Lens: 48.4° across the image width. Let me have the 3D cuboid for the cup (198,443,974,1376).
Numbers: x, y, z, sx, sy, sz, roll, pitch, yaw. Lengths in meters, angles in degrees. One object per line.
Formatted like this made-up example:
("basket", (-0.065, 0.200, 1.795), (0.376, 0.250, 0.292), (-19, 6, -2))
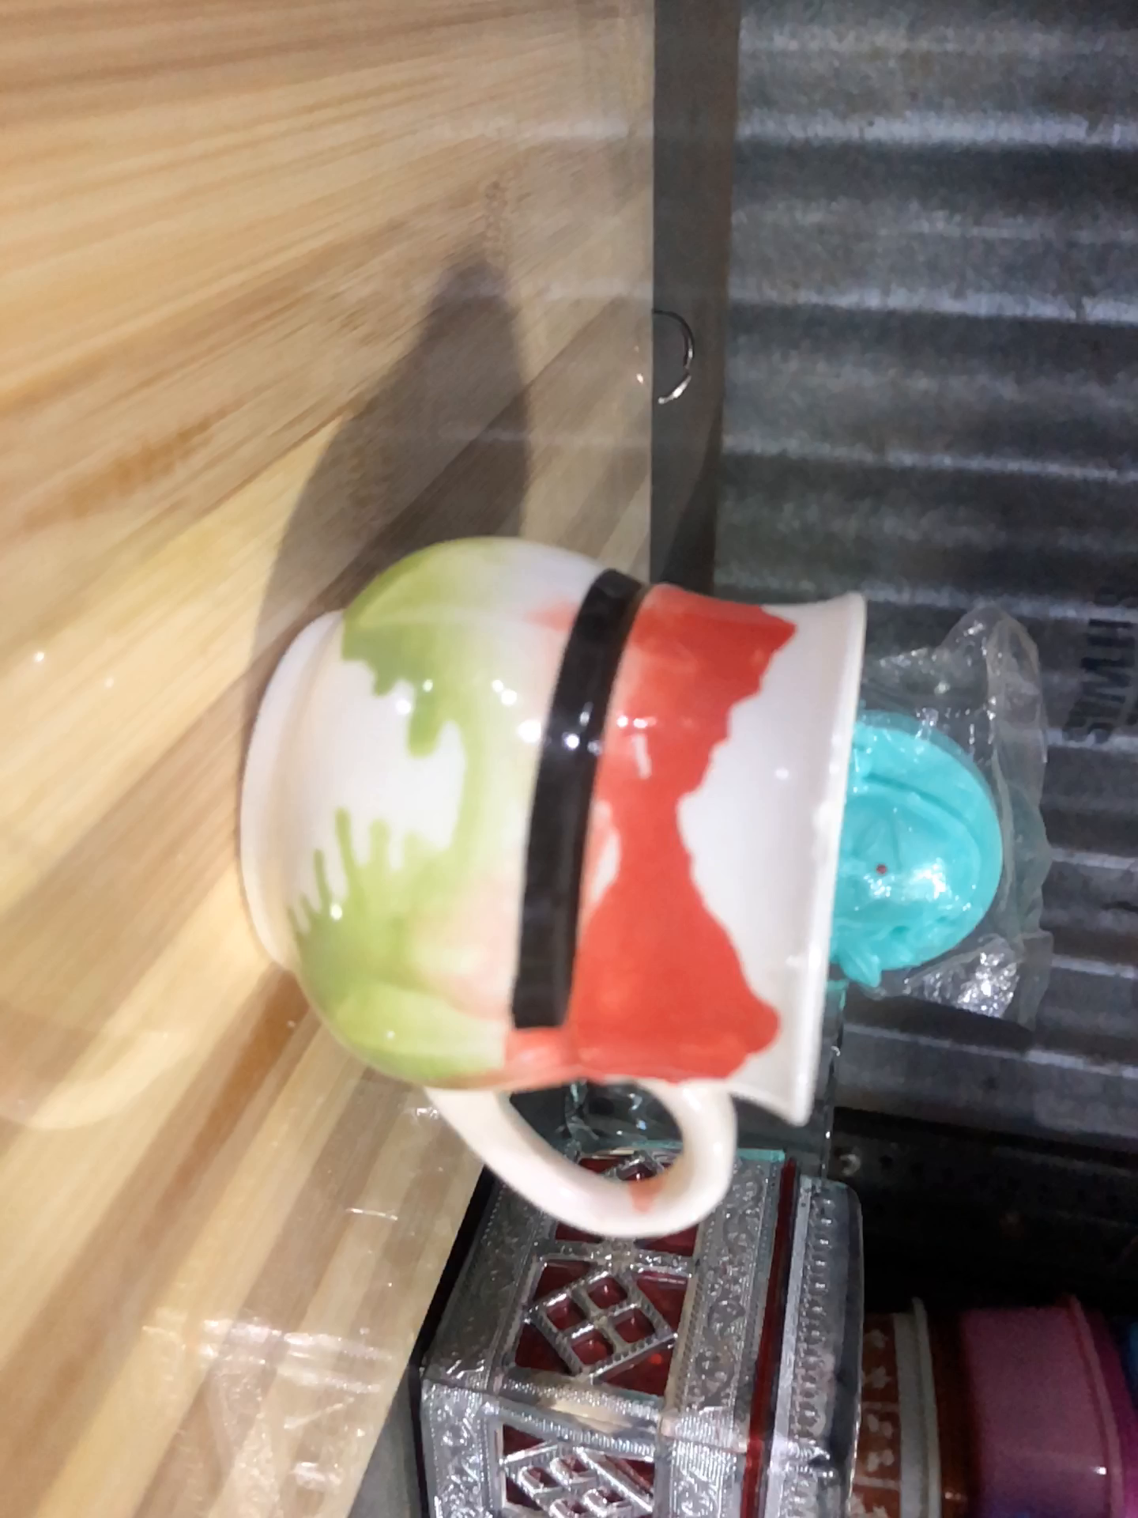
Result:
("cup", (0.006, 0.014, 0.158), (0.060, 0.070, 0.090), (-65, 158, -61))
